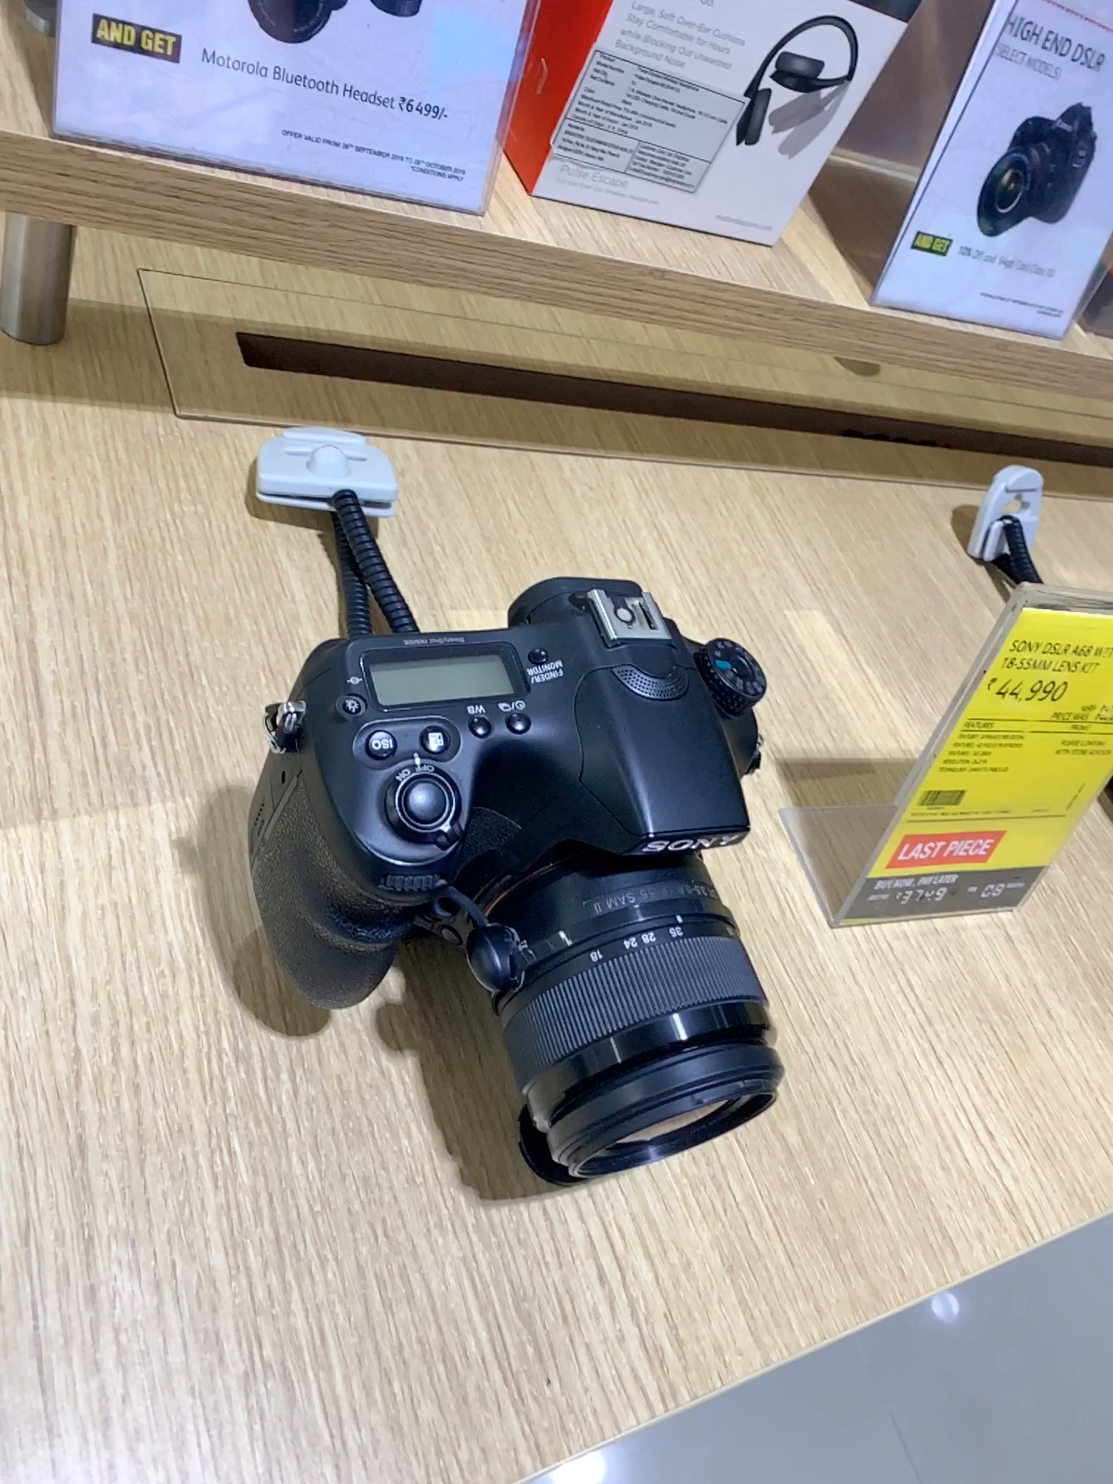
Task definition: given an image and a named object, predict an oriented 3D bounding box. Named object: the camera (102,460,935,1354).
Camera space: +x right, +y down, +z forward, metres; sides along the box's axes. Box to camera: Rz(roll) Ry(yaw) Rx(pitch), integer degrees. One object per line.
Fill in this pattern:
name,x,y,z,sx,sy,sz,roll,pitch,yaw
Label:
camera,-0.019,0.023,0.281,0.130,0.070,0.180,-6,57,-34
